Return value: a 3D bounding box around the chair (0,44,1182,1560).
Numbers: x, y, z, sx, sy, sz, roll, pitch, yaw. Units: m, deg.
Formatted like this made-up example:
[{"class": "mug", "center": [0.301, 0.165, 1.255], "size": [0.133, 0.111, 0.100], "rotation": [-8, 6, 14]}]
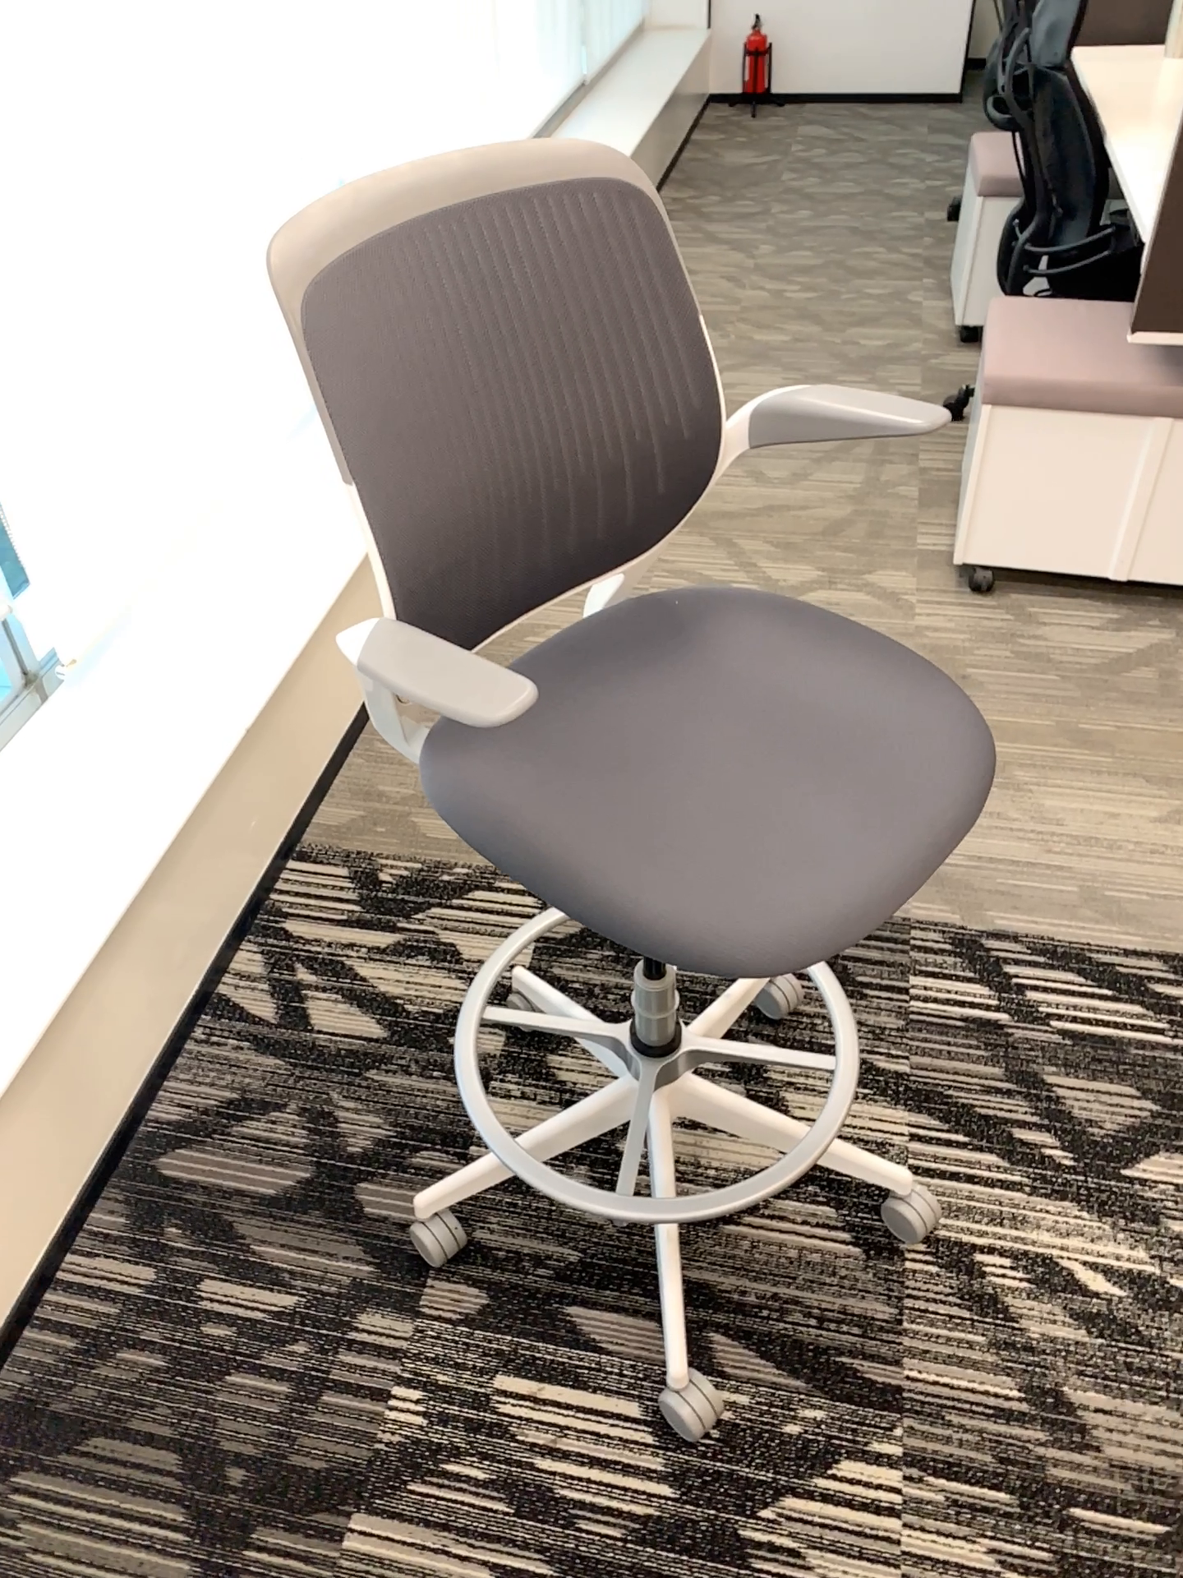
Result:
[{"class": "chair", "center": [0.062, 0.024, 1.200], "size": [0.693, 1.140, 0.693], "rotation": [-34, 51, -30]}]
